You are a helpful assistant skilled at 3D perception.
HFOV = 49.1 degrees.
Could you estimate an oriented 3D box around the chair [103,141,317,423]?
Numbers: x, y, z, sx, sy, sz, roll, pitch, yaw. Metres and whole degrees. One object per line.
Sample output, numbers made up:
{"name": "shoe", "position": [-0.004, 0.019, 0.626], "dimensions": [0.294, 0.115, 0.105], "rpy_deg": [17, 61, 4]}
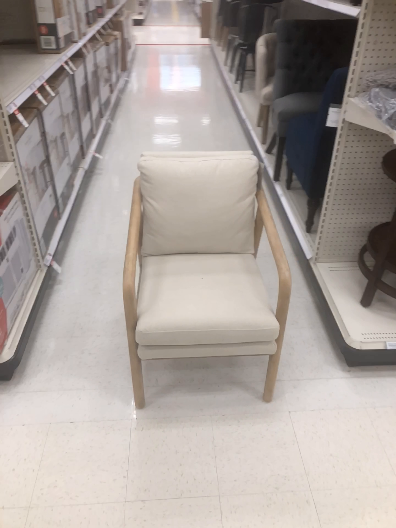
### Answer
{"name": "chair", "position": [0.014, 0.038, 1.714], "dimensions": [0.580, 0.806, 0.764], "rpy_deg": [-1, 34, -2]}
